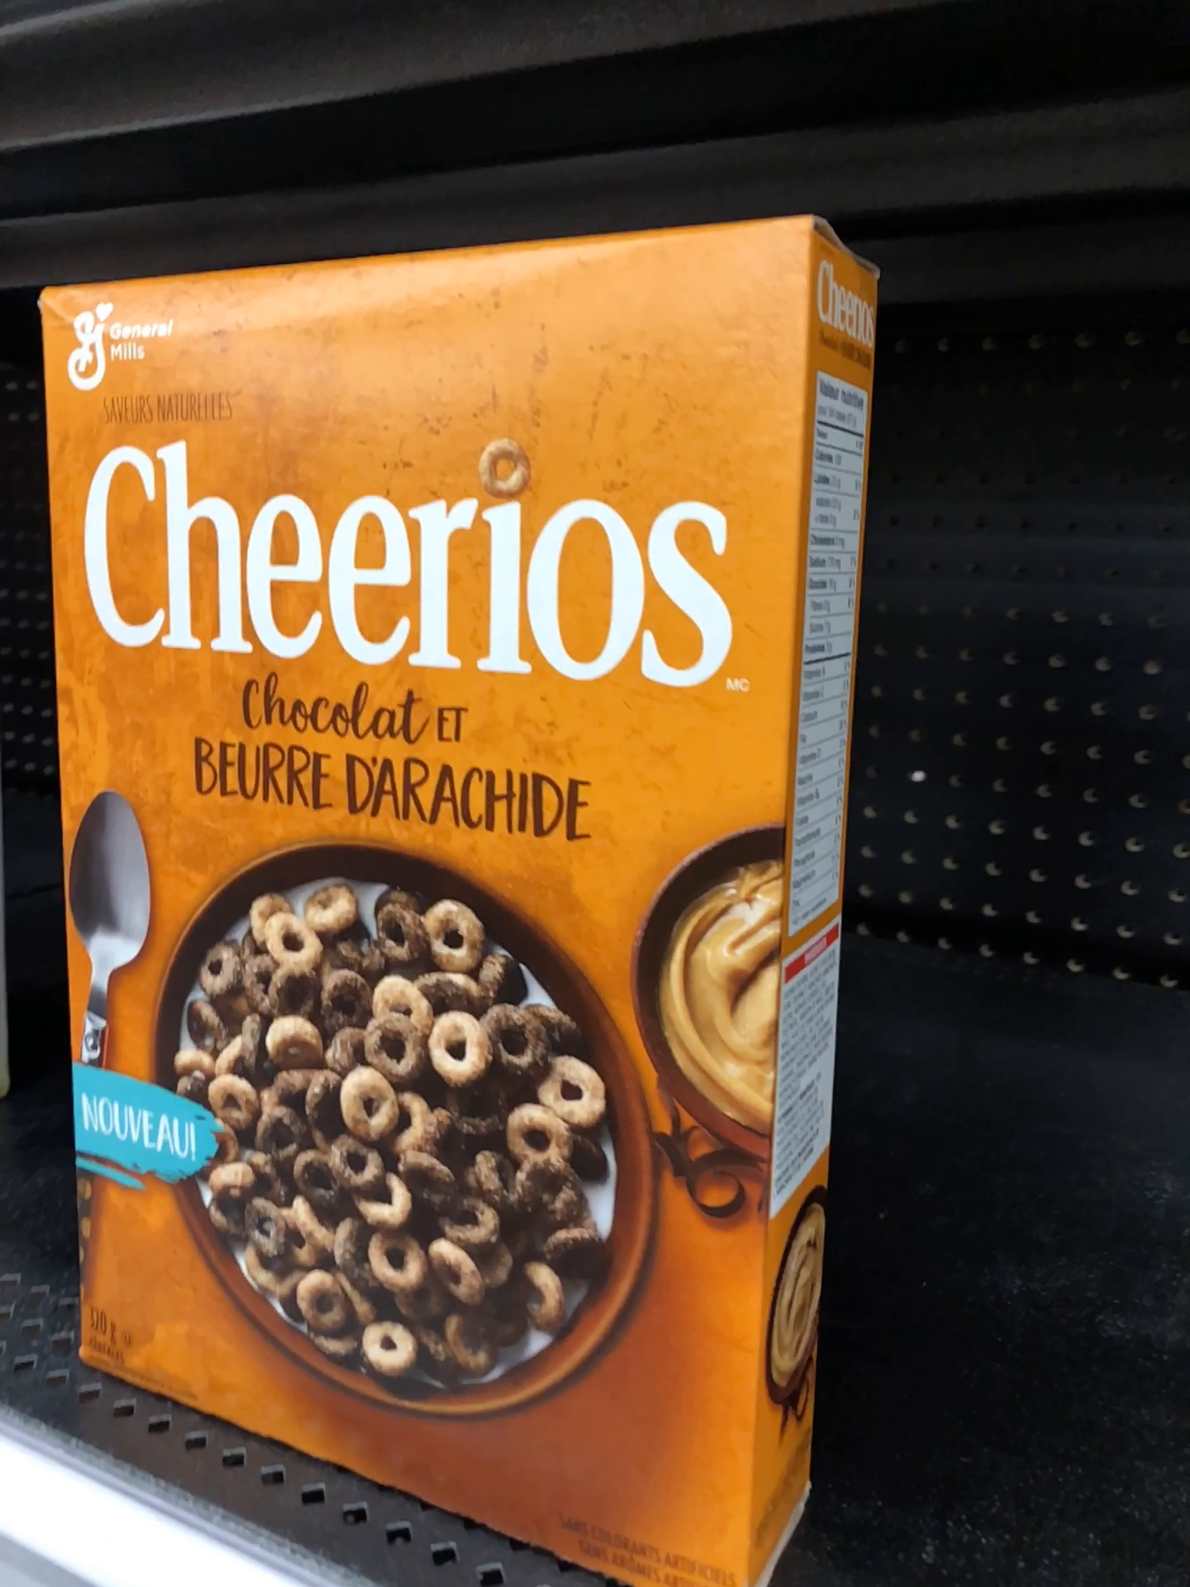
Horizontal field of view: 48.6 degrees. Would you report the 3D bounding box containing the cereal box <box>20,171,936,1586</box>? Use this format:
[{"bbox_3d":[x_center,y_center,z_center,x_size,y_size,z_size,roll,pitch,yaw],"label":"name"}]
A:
[{"bbox_3d":[-0.036,0.022,0.316,0.200,0.289,0.060,7,11,26],"label":"cereal box"}]
